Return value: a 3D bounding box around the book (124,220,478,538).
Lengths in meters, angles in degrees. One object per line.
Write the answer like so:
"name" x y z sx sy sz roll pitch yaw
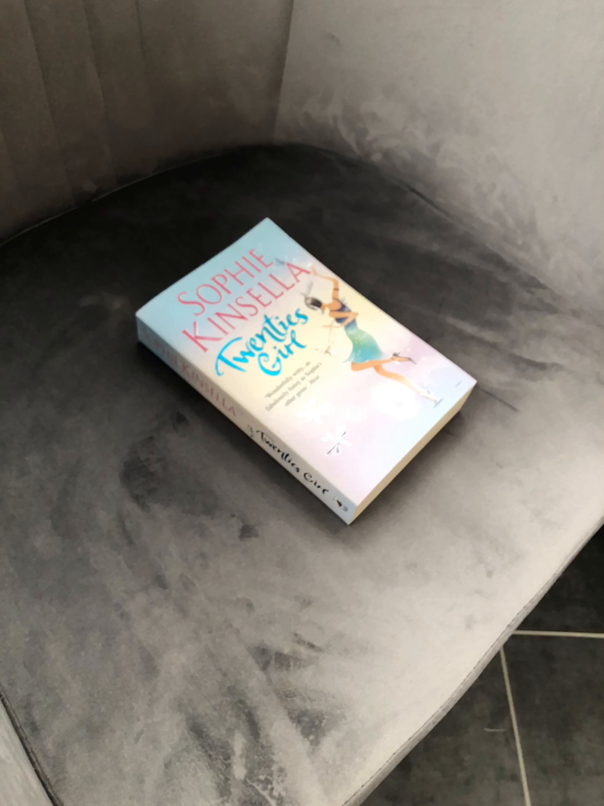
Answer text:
"book" -0.002 -0.027 0.461 0.200 0.043 0.132 40 59 16
